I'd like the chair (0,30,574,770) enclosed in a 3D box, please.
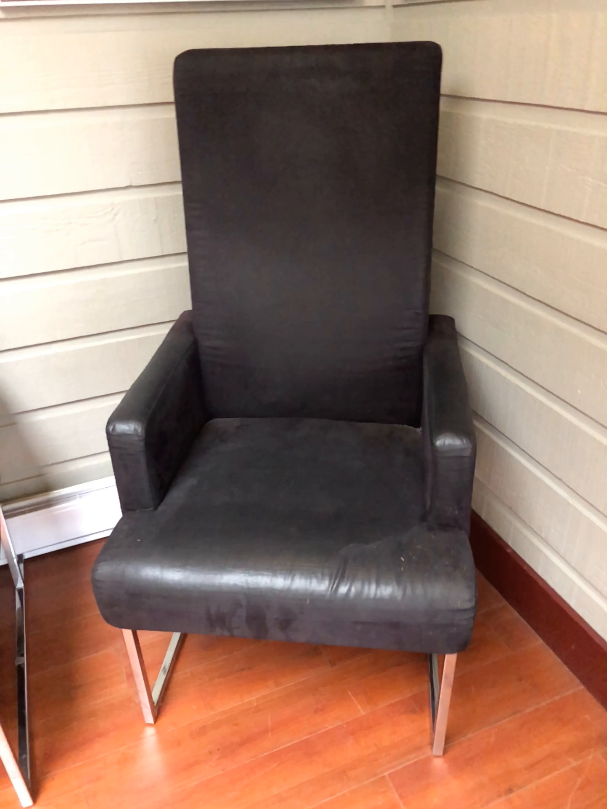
[{"bbox_3d":[-0.007,-0.041,1.195,0.630,1.083,0.705,2,29,7],"label":"chair"}]
